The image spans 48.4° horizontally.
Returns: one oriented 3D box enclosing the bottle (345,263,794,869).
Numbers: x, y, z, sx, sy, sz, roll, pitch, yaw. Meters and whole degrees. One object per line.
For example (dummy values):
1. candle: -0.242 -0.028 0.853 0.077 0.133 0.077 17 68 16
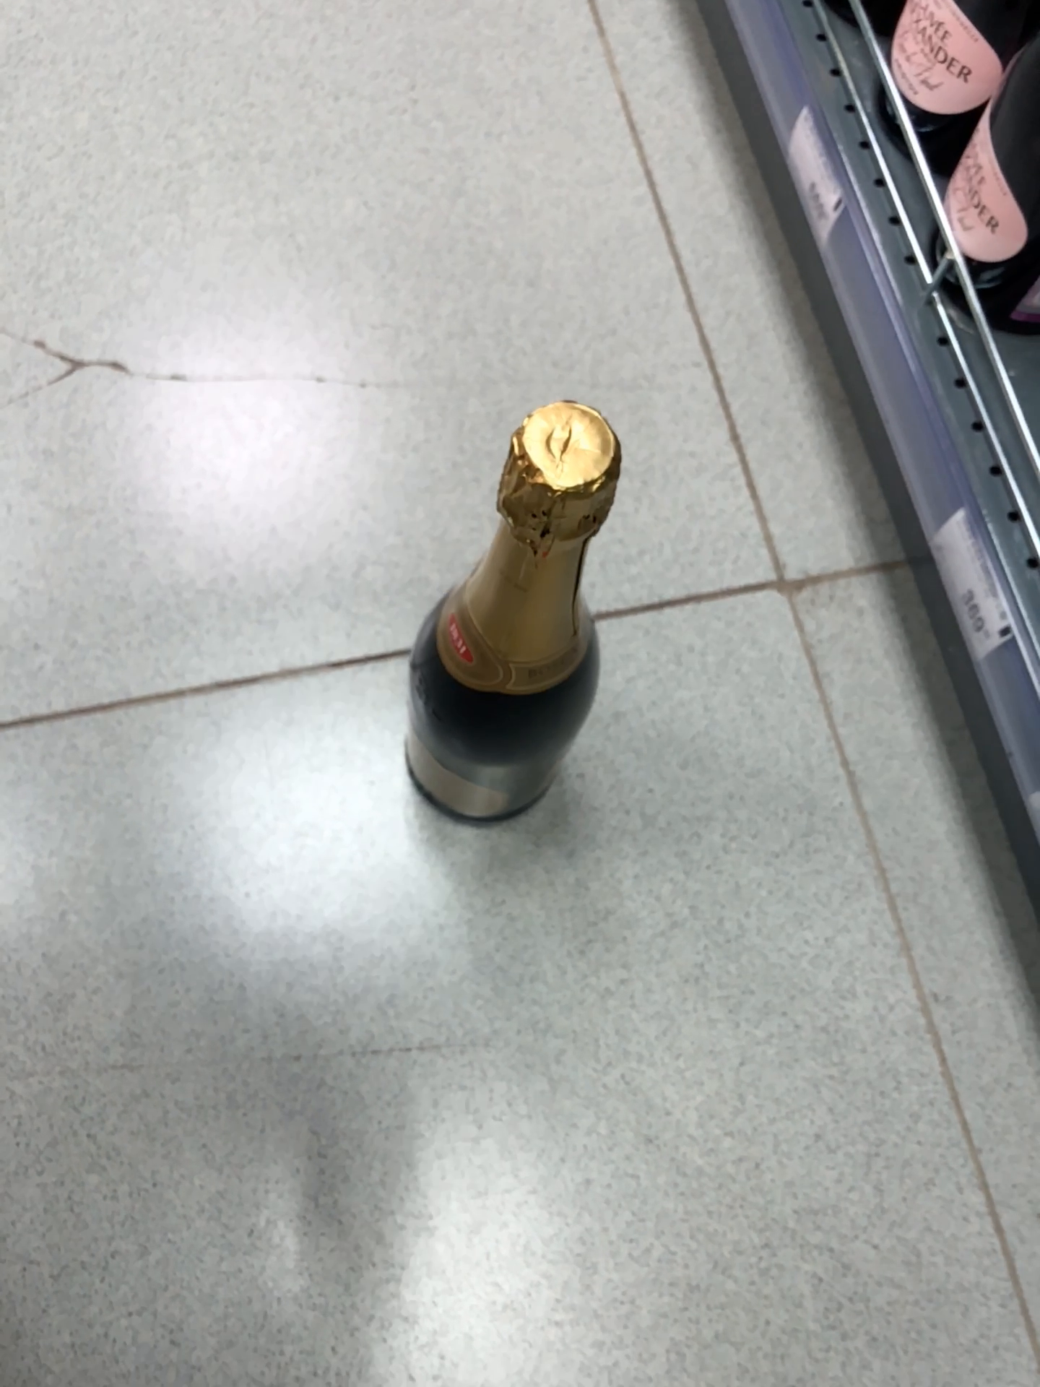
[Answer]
1. bottle: -0.004 -0.020 0.471 0.100 0.315 0.100 2 71 -6
